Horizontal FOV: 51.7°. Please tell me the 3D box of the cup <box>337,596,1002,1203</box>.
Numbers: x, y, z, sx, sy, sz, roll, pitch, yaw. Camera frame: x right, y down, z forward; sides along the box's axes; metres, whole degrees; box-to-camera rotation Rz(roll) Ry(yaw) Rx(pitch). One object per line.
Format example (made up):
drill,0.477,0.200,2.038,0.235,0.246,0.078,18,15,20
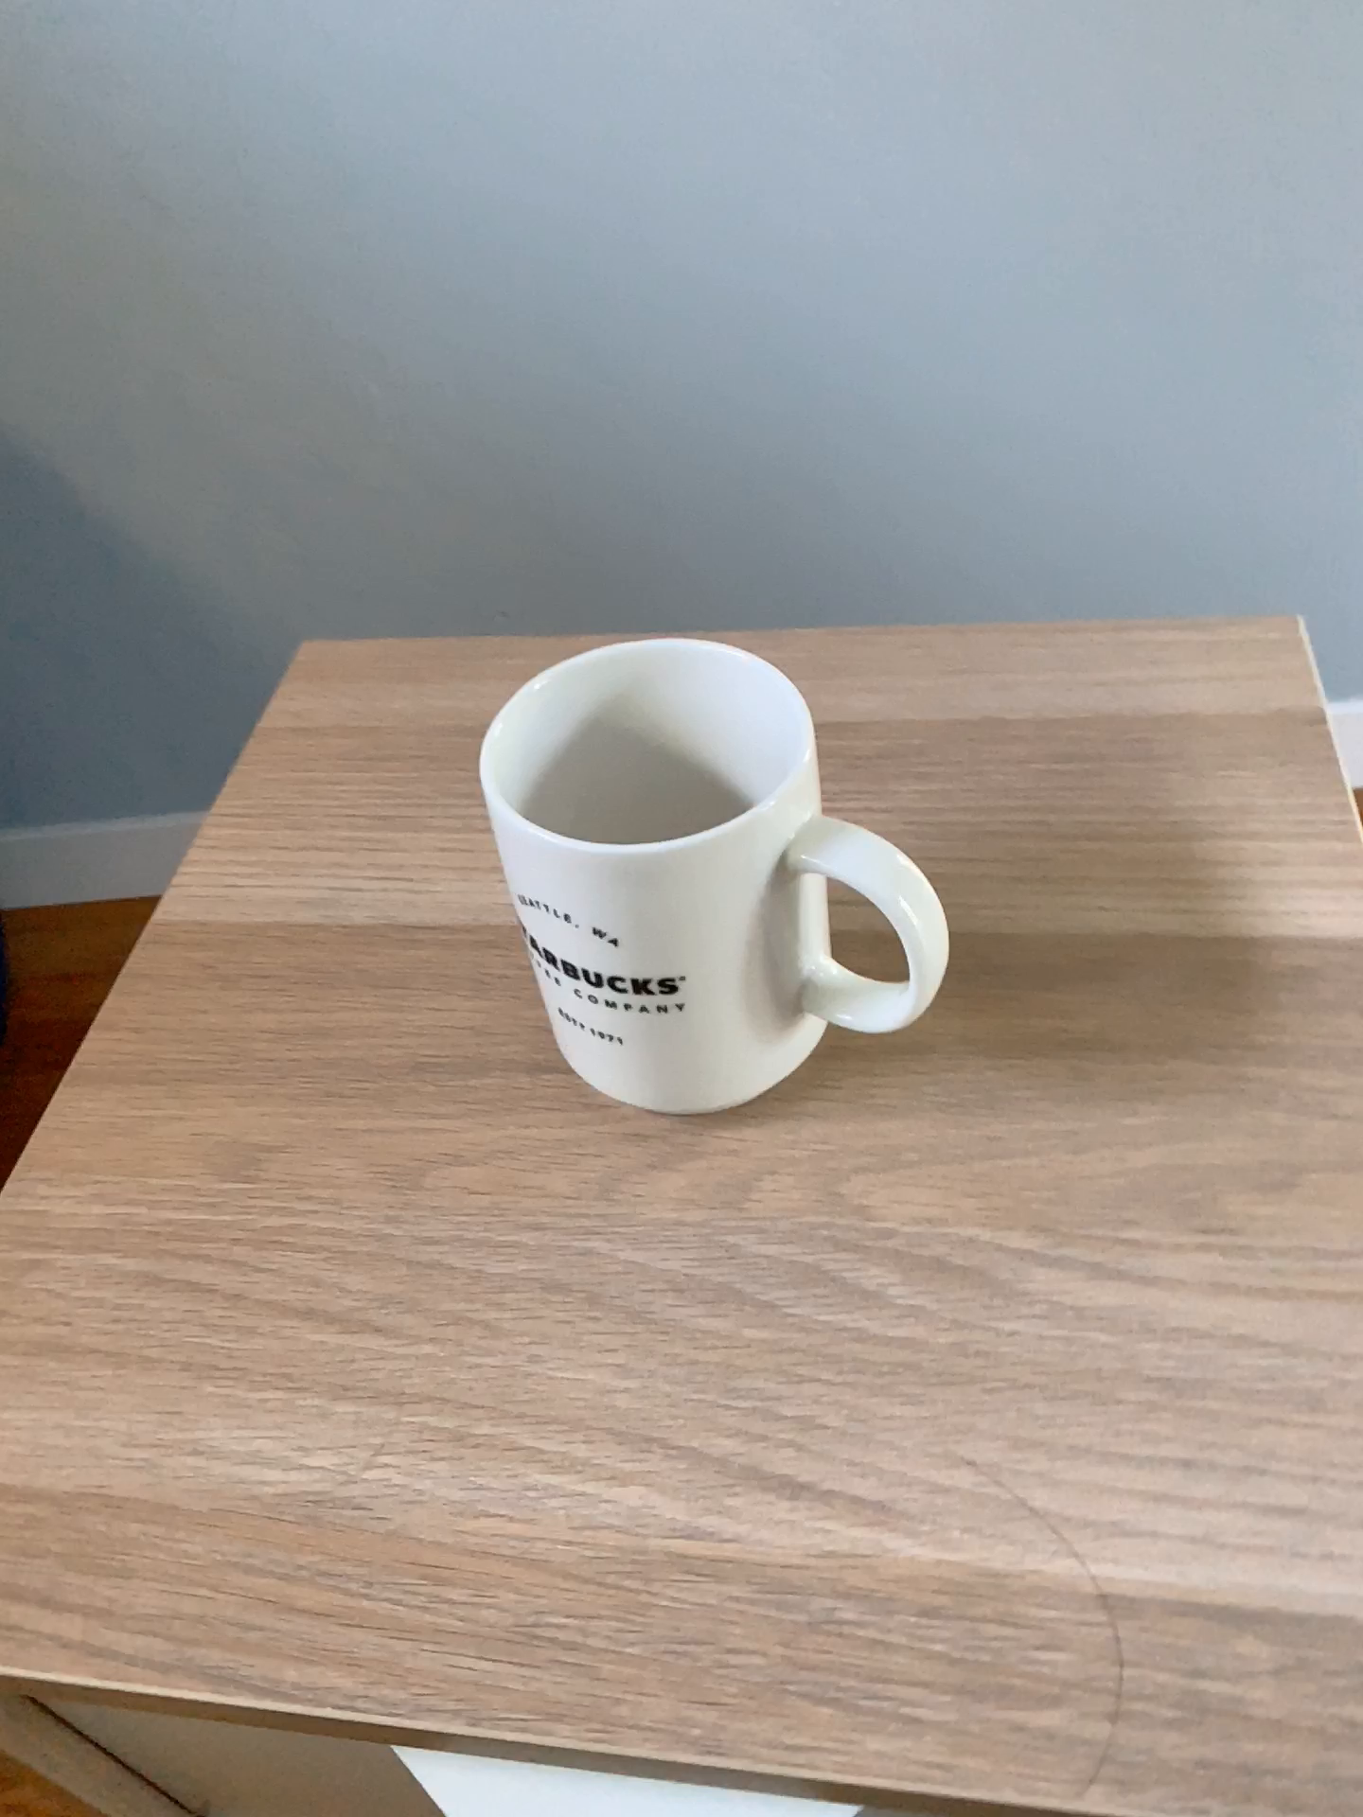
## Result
cup,0.001,-0.009,0.371,0.130,0.080,0.100,20,52,28
